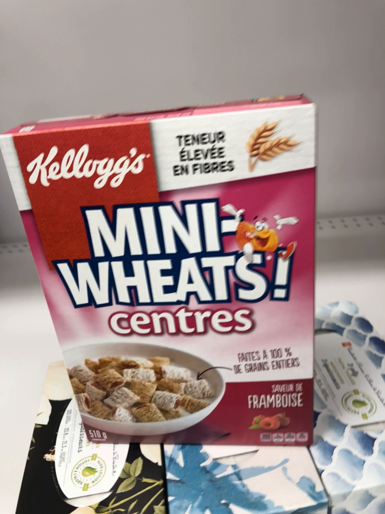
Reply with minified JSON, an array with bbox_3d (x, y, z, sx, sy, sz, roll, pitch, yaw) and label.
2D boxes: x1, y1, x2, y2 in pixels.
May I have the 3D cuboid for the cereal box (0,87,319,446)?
[{"bbox_3d":[-0.017,0.026,0.333,0.210,0.269,0.050,-3,25,9],"label":"cereal box"}]
